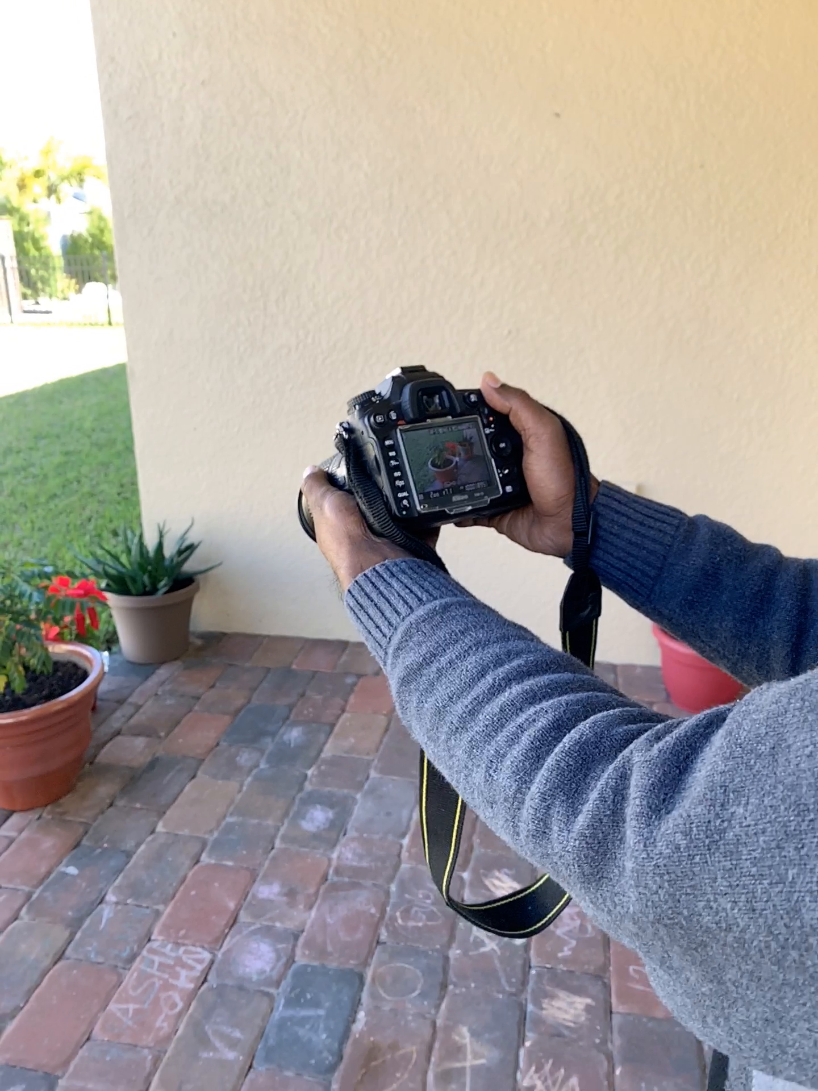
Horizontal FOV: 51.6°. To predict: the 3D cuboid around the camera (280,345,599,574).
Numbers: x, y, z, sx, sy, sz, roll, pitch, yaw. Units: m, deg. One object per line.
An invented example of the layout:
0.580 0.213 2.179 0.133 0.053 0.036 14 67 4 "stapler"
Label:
0.012 -0.057 0.620 0.130 0.101 0.199 -12 -5 -30 "camera"
